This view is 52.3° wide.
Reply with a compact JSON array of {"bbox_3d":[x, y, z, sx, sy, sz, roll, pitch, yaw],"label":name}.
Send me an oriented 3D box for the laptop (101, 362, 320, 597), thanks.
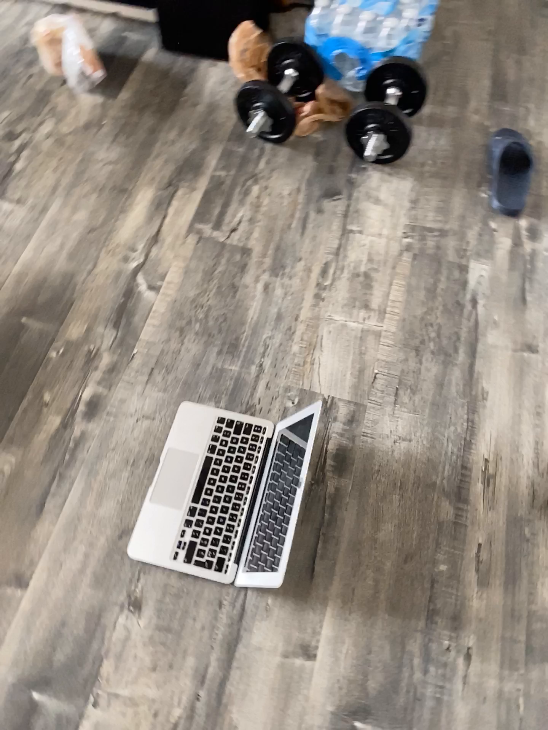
[{"bbox_3d":[-0.087,0.187,0.914,0.254,0.159,0.291,14,63,3],"label":"laptop"}]
